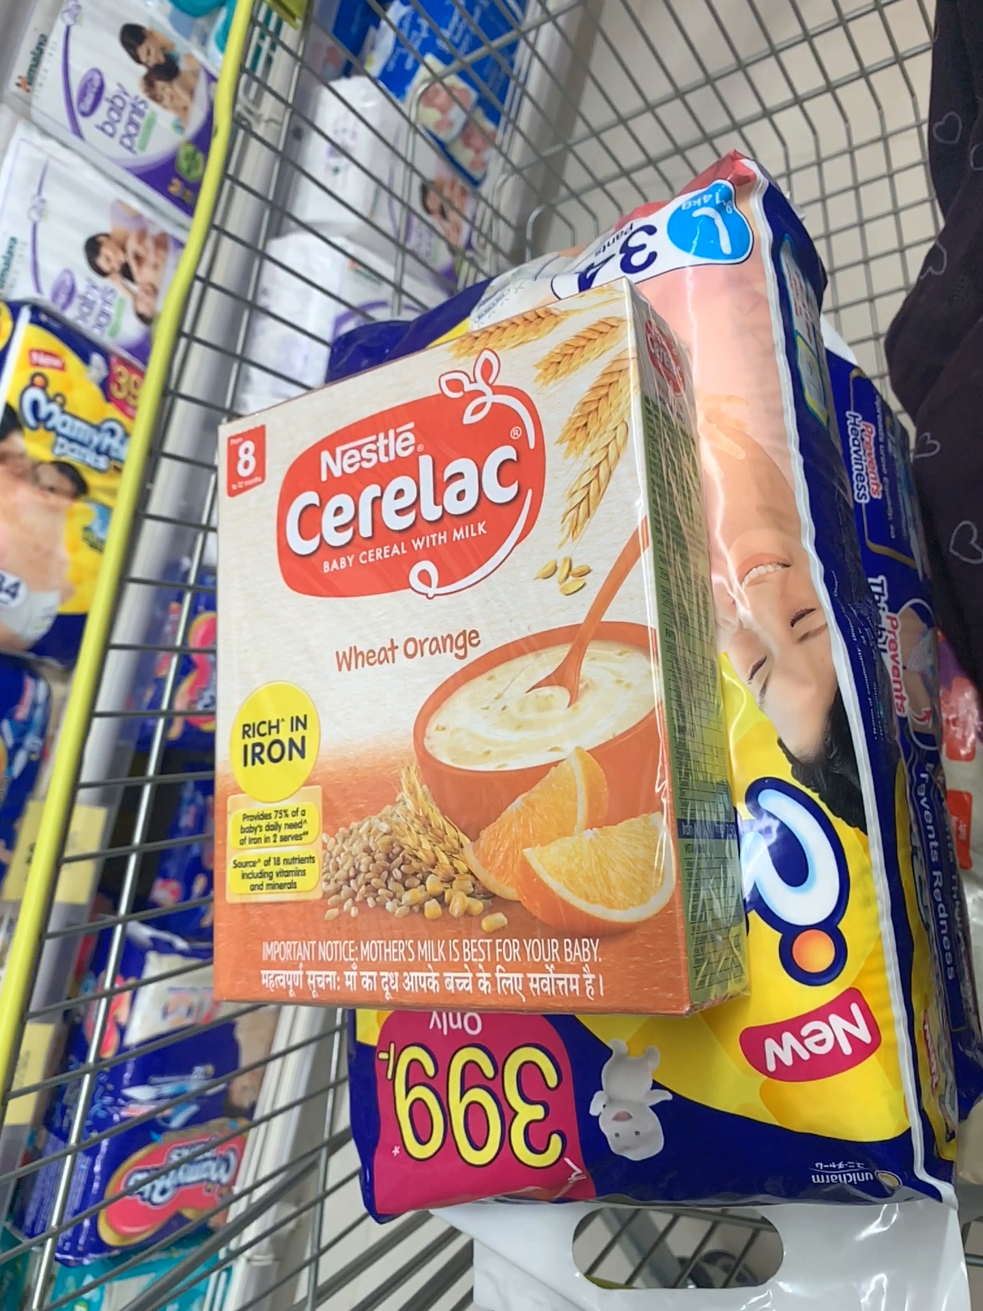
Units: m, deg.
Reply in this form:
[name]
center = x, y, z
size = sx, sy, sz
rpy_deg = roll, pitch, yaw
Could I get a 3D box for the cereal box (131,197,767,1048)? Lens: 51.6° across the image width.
[cereal box]
center = -0.023, 0.001, 0.287
size = 0.171, 0.050, 0.190
rpy_deg = -10, 76, 32
